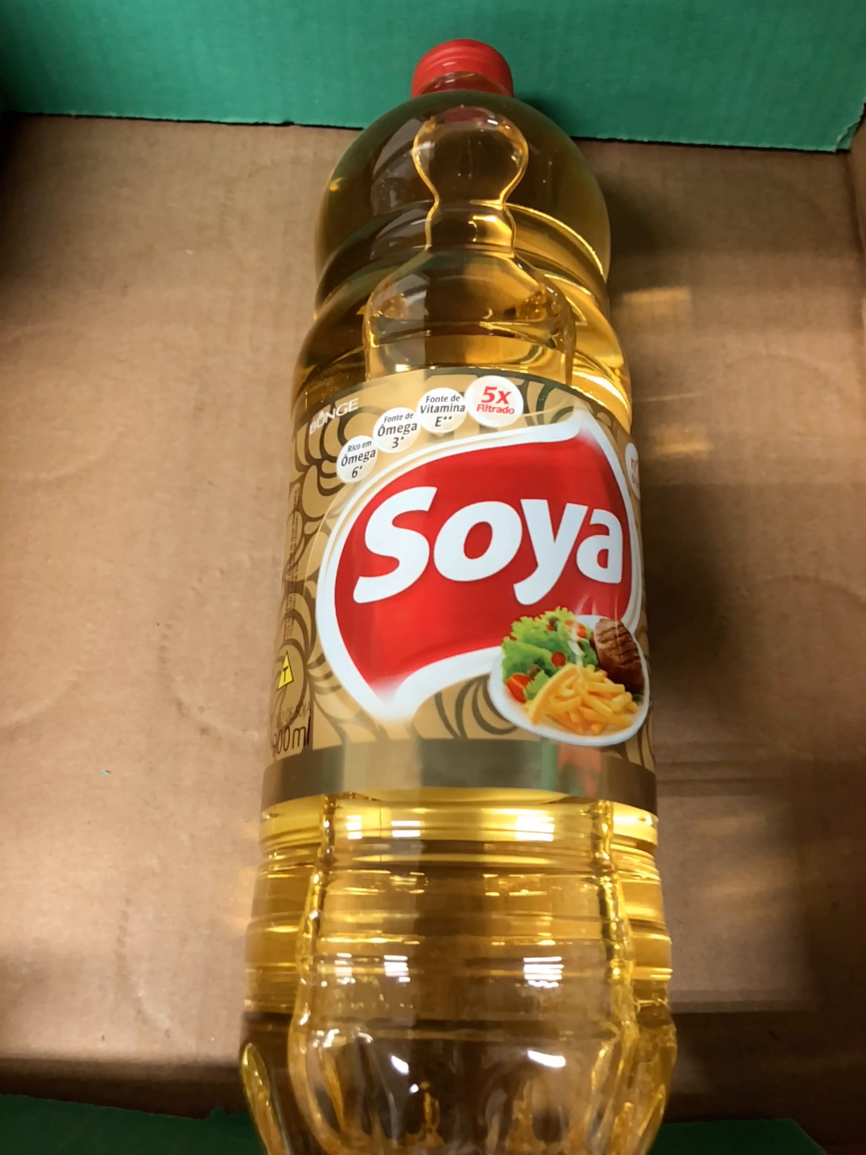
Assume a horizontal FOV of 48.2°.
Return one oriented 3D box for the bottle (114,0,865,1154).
[{"bbox_3d":[0.010,-0.011,0.170,0.080,0.070,0.210,3,70,-1],"label":"bottle"}]
